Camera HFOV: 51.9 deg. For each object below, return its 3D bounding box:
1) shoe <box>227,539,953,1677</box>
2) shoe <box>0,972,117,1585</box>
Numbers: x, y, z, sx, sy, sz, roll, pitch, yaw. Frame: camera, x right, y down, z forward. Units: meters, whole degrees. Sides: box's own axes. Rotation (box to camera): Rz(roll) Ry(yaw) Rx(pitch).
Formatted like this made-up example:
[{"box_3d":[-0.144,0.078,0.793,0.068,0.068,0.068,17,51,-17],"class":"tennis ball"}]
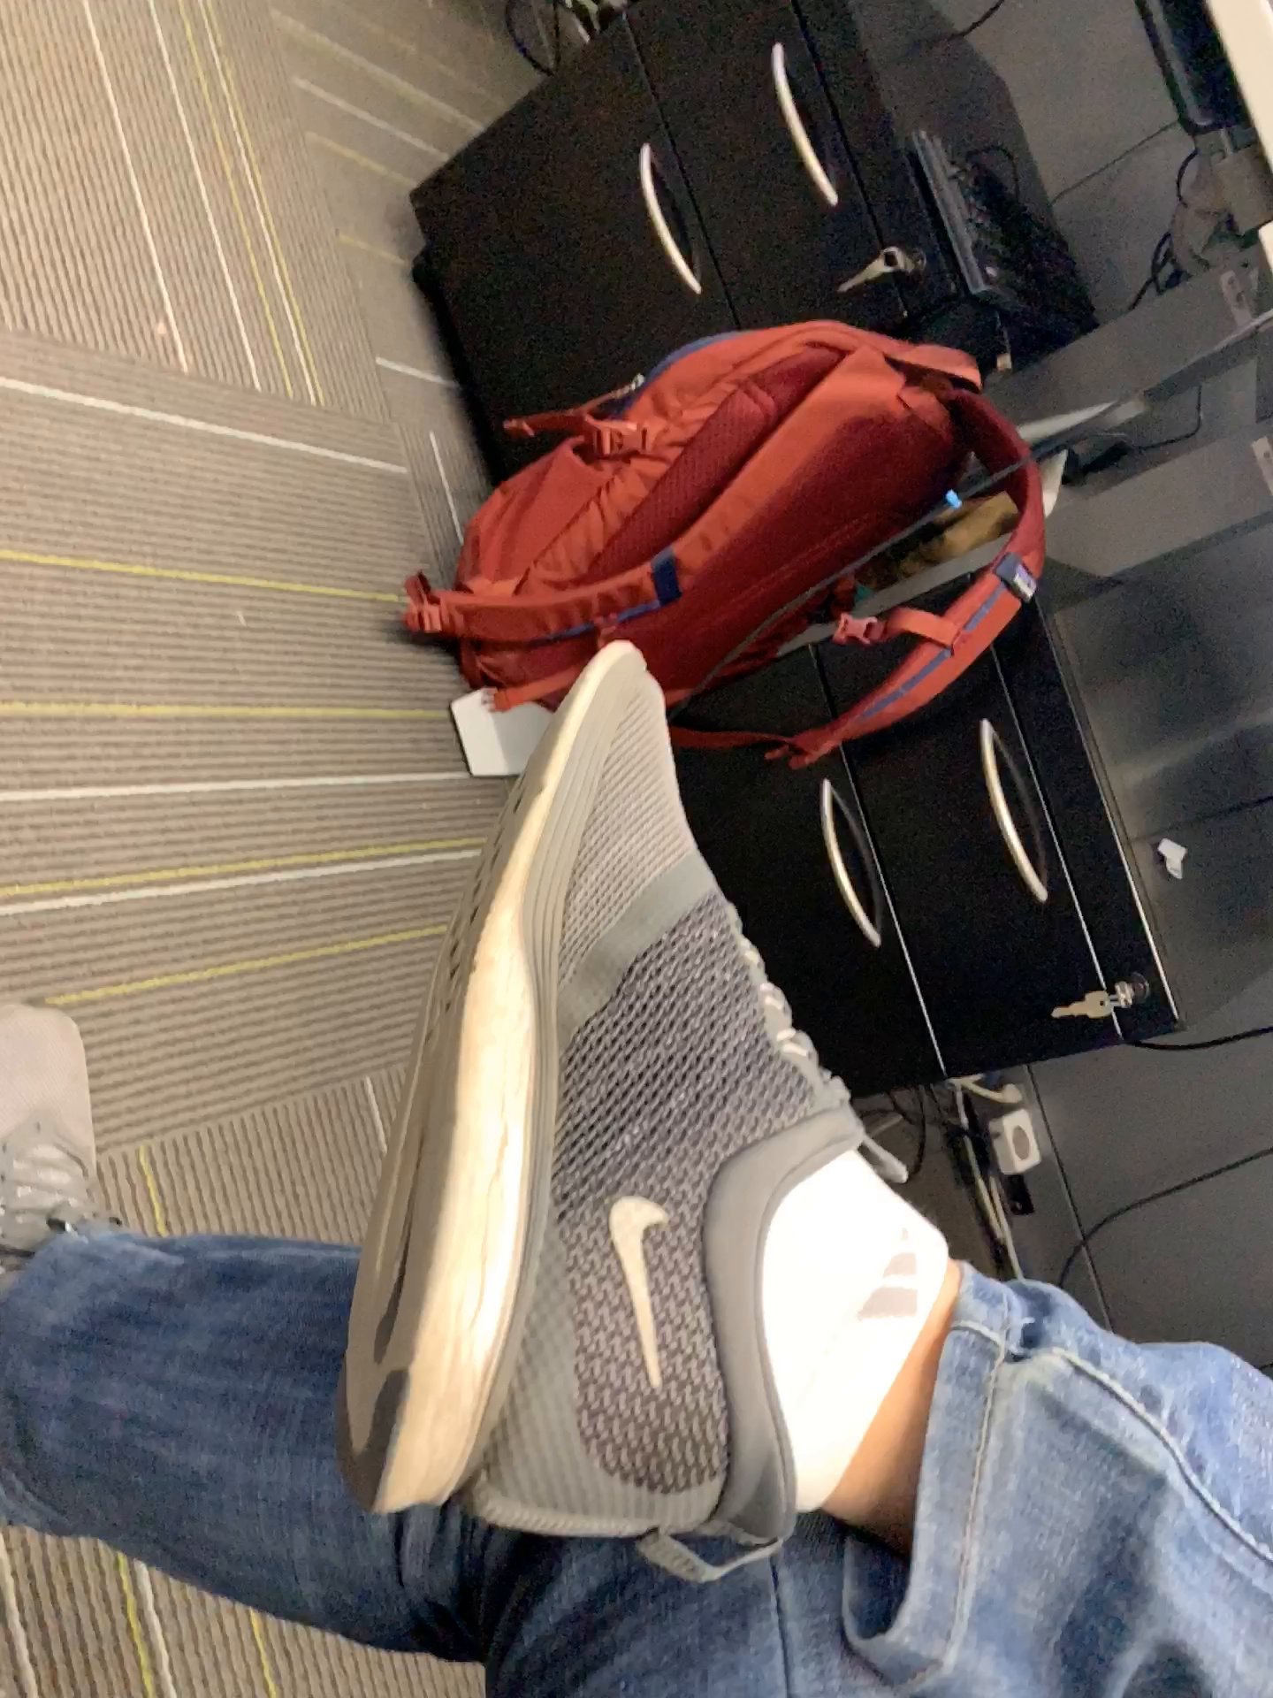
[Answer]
[{"box_3d":[-0.003,0.061,0.399,0.142,0.115,0.295,17,49,-10],"class":"shoe"},{"box_3d":[-0.372,0.227,0.720,0.117,0.074,0.293,22,57,-47],"class":"shoe"}]
